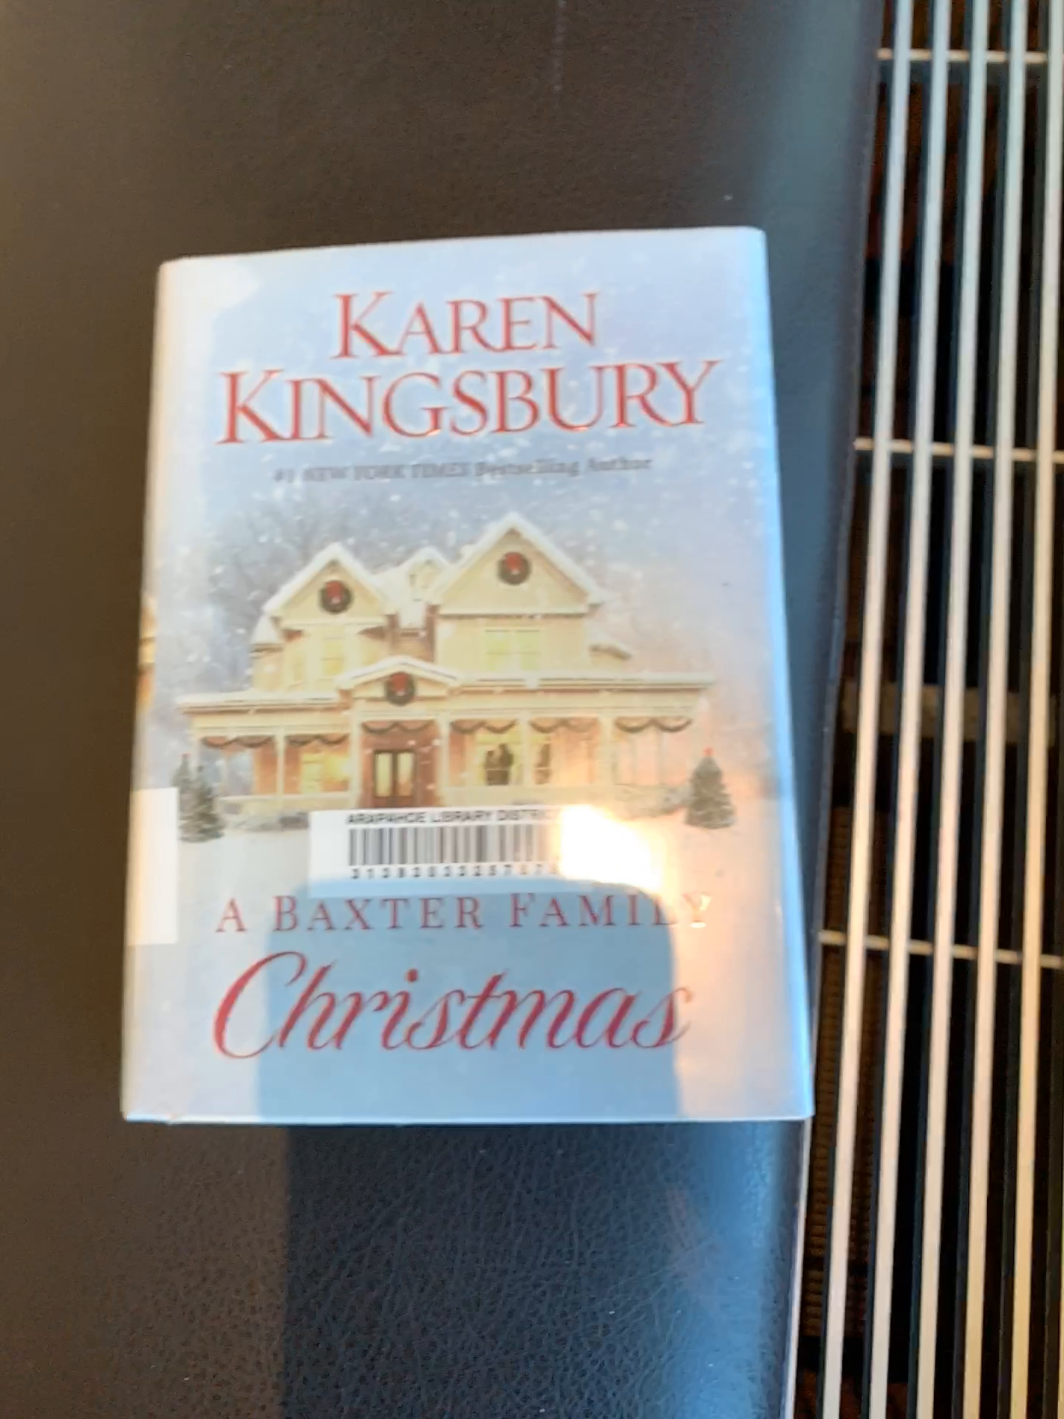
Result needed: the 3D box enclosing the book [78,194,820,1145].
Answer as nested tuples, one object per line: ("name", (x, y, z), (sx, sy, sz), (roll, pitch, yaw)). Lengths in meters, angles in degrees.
("book", (-0.017, -0.010, 0.224), (0.134, 0.023, 0.180), (-1, 82, 5))
